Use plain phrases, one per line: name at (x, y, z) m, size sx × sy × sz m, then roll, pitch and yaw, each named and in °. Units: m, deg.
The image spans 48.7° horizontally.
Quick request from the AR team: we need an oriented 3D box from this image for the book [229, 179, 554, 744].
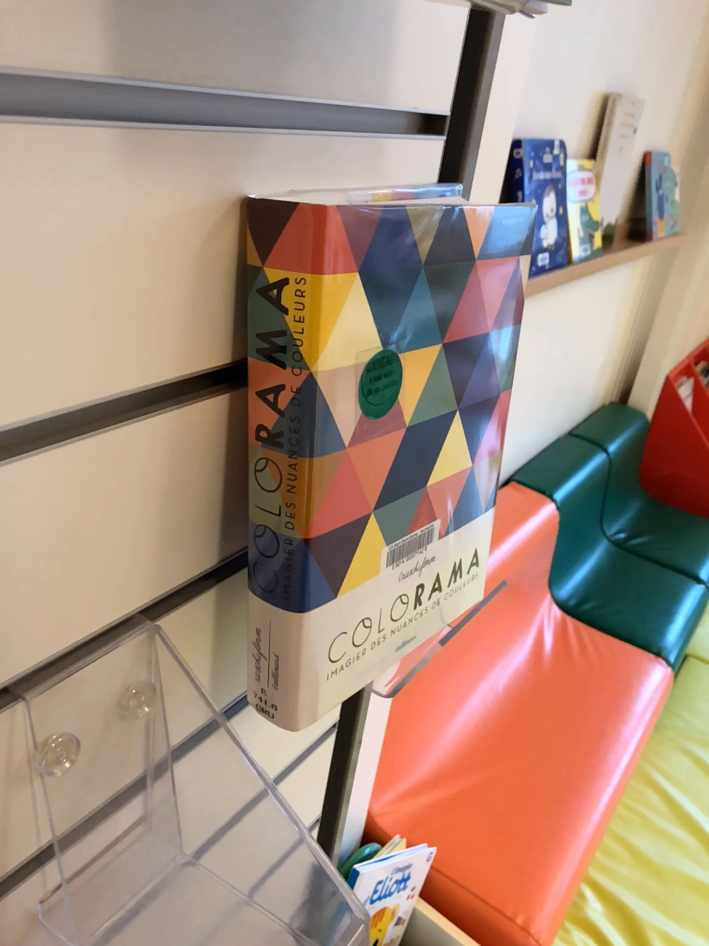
book at (0.020, -0.016, 0.378) m, size 0.046 × 0.231 × 0.171 m, roll 20°, pitch 27°, yaw 35°
